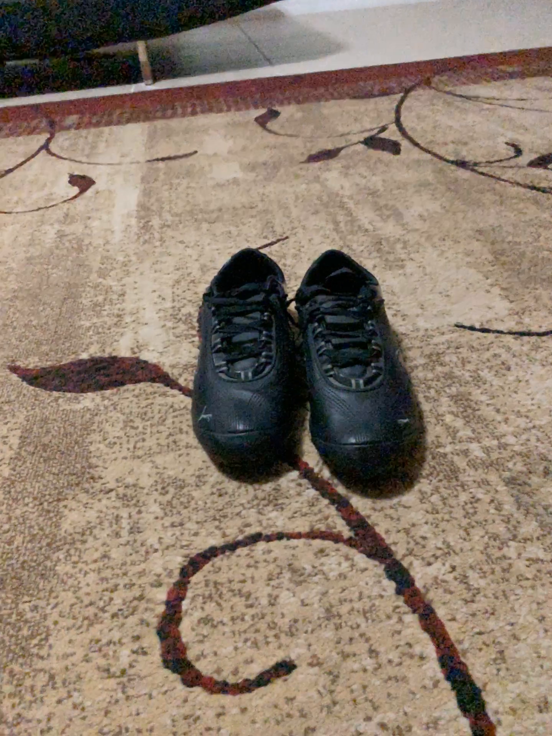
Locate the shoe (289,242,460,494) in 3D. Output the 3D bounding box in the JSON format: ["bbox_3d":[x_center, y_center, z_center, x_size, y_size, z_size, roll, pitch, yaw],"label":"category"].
[{"bbox_3d":[0.068,-0.017,0.483,0.088,0.073,0.246,-6,37,-1],"label":"shoe"}]

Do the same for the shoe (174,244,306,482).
[{"bbox_3d":[-0.022,-0.020,0.500,0.085,0.073,0.246,-3,37,3],"label":"shoe"}]
